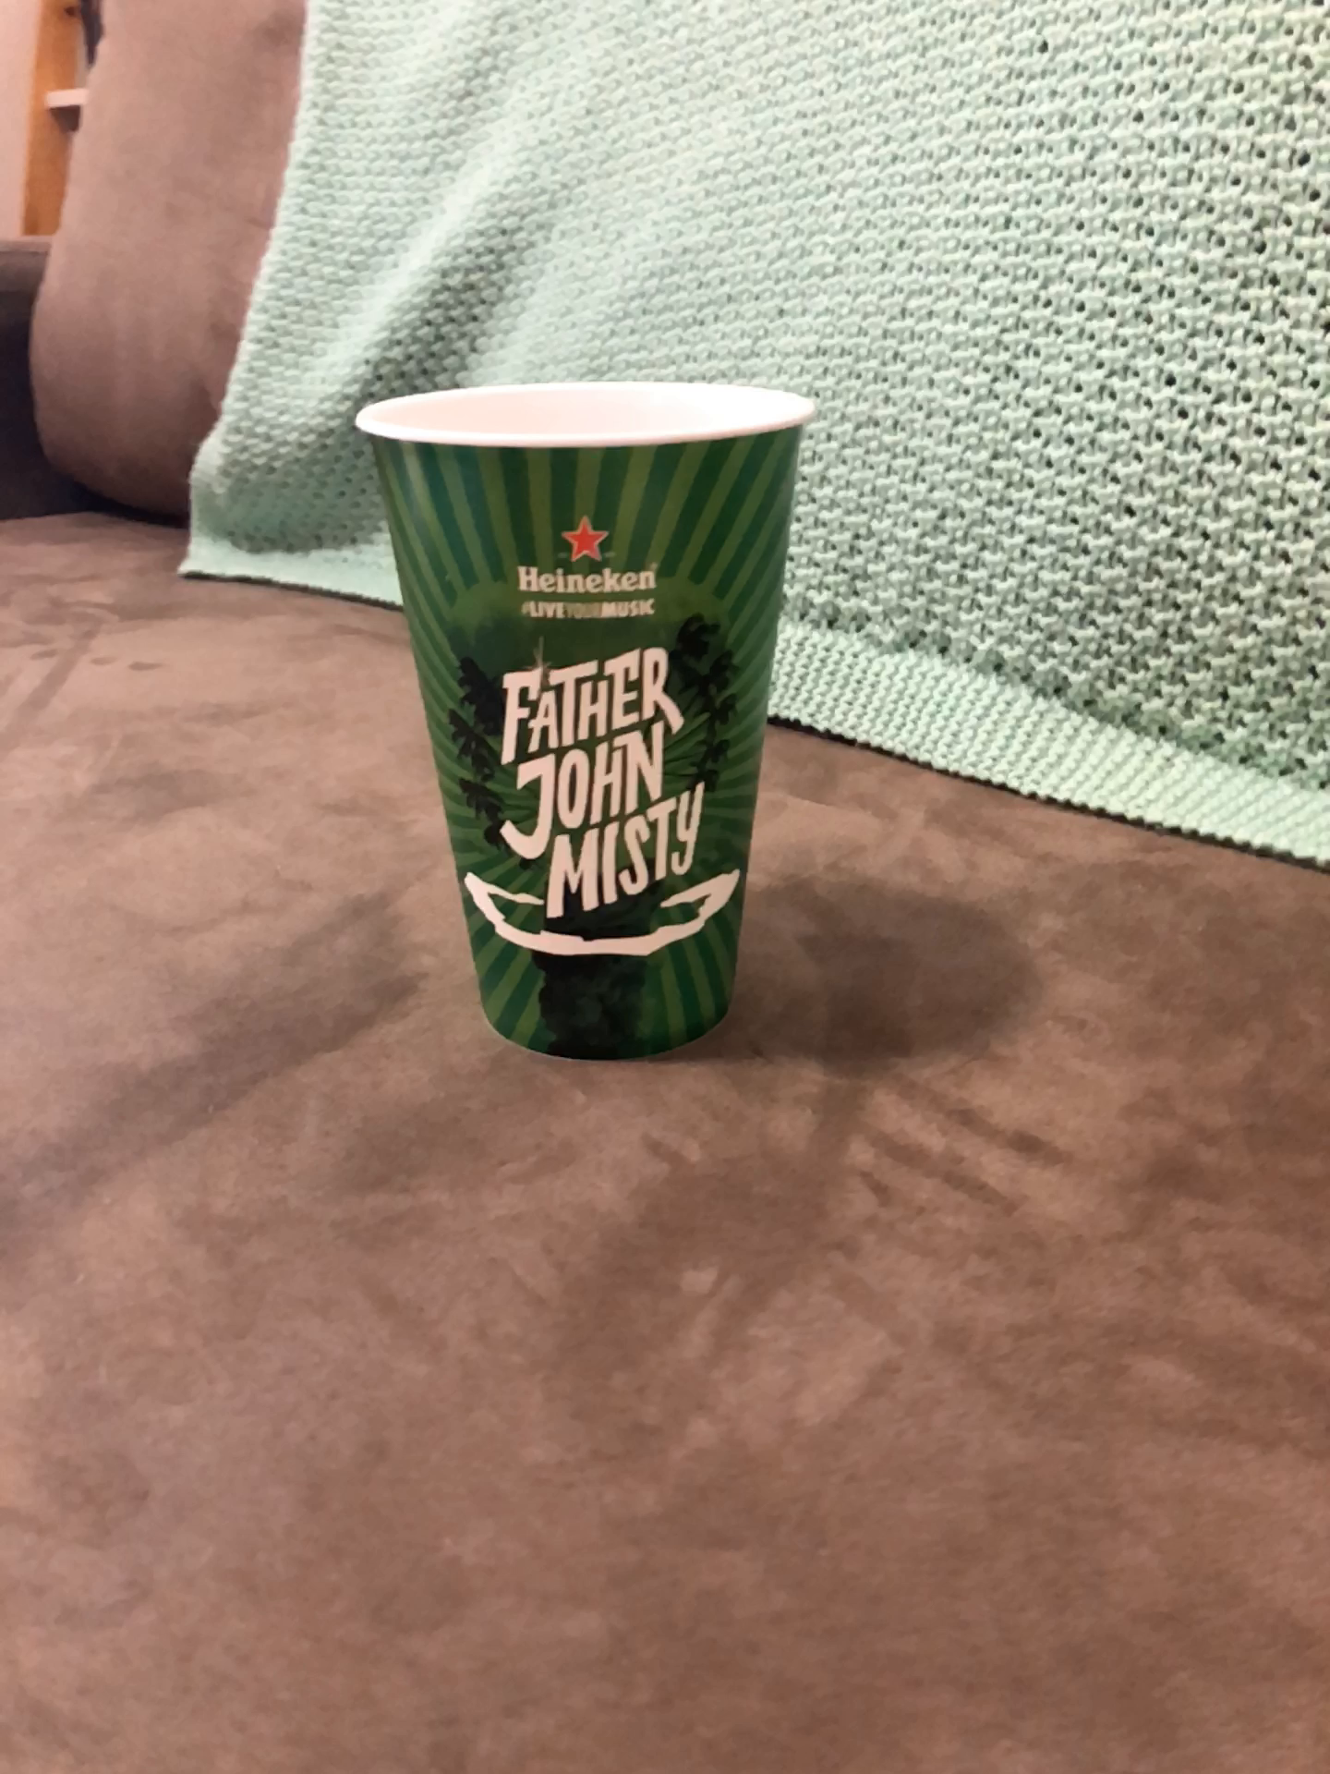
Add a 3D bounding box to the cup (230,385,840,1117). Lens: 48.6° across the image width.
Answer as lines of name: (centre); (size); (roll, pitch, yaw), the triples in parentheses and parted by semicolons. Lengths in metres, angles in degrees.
cup: (-0.019, -0.037, 0.324); (0.100, 0.129, 0.101); (0, 23, 0)
